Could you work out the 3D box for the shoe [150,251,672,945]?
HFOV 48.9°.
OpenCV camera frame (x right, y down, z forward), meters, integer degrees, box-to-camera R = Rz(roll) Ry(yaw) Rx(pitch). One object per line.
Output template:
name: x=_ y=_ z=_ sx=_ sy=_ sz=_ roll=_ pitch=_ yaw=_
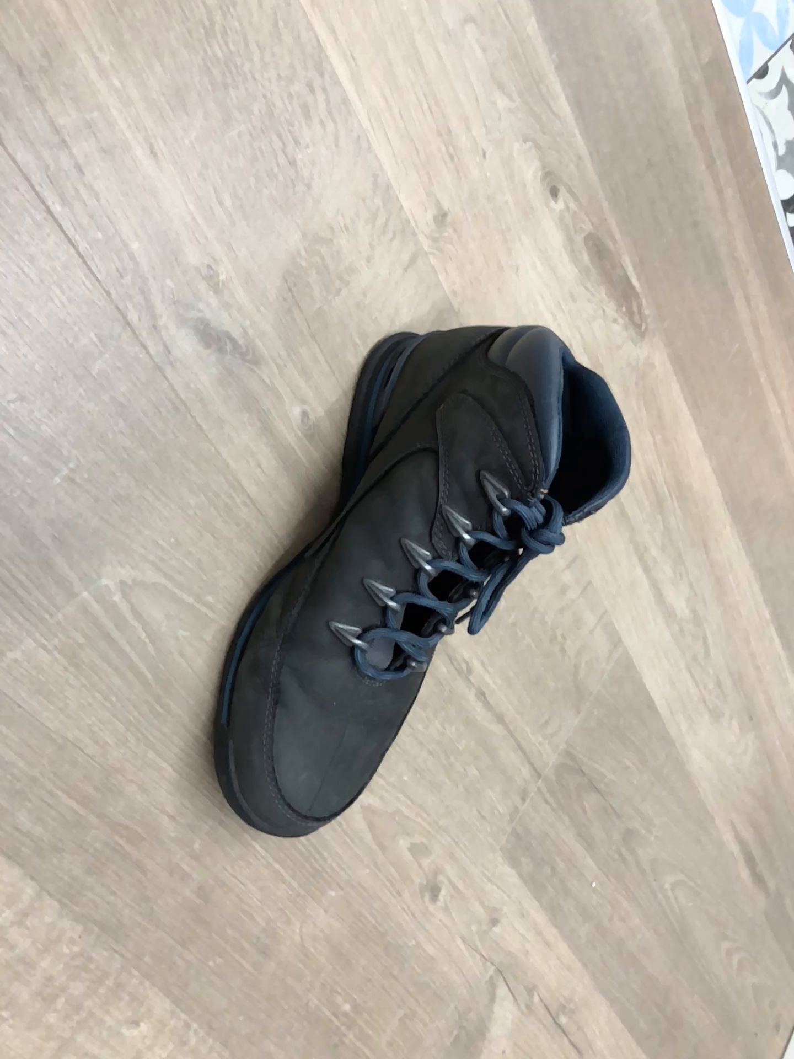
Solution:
shoe: x=0.016 y=0.025 z=0.437 sx=0.110 sy=0.129 sz=0.290 roll=35 pitch=68 yaw=-37
